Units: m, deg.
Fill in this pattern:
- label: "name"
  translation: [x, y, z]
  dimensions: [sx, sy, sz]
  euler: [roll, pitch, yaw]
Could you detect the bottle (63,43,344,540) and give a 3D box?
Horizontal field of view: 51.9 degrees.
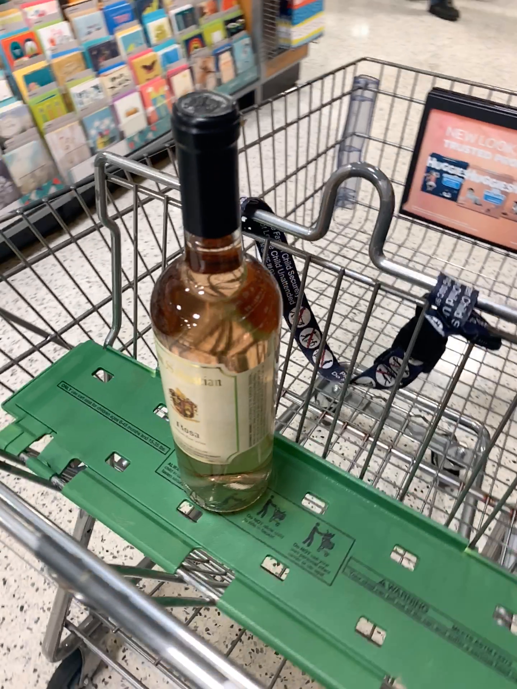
- label: "bottle"
  translation: [-0.023, 0.000, 0.340]
  dimensions: [0.084, 0.315, 0.087]
  euler: [0, 47, -1]
